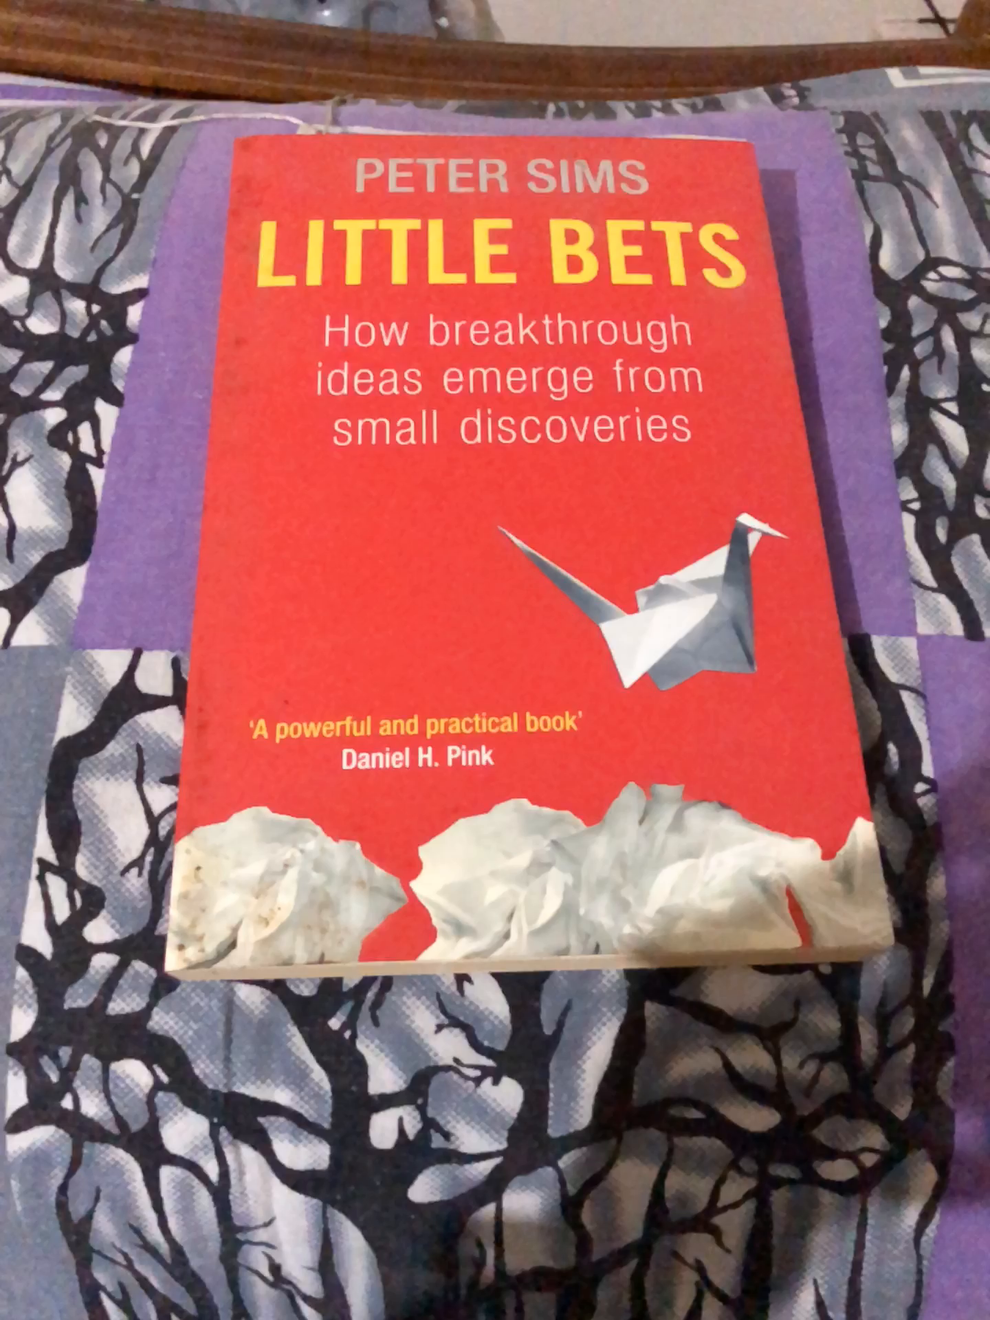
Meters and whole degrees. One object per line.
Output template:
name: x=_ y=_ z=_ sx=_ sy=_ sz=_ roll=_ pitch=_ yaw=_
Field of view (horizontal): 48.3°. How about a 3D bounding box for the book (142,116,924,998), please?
book: x=0.005 y=-0.044 z=0.274 sx=0.150 sy=0.020 sz=0.240 roll=-1 pitch=64 yaw=-1
